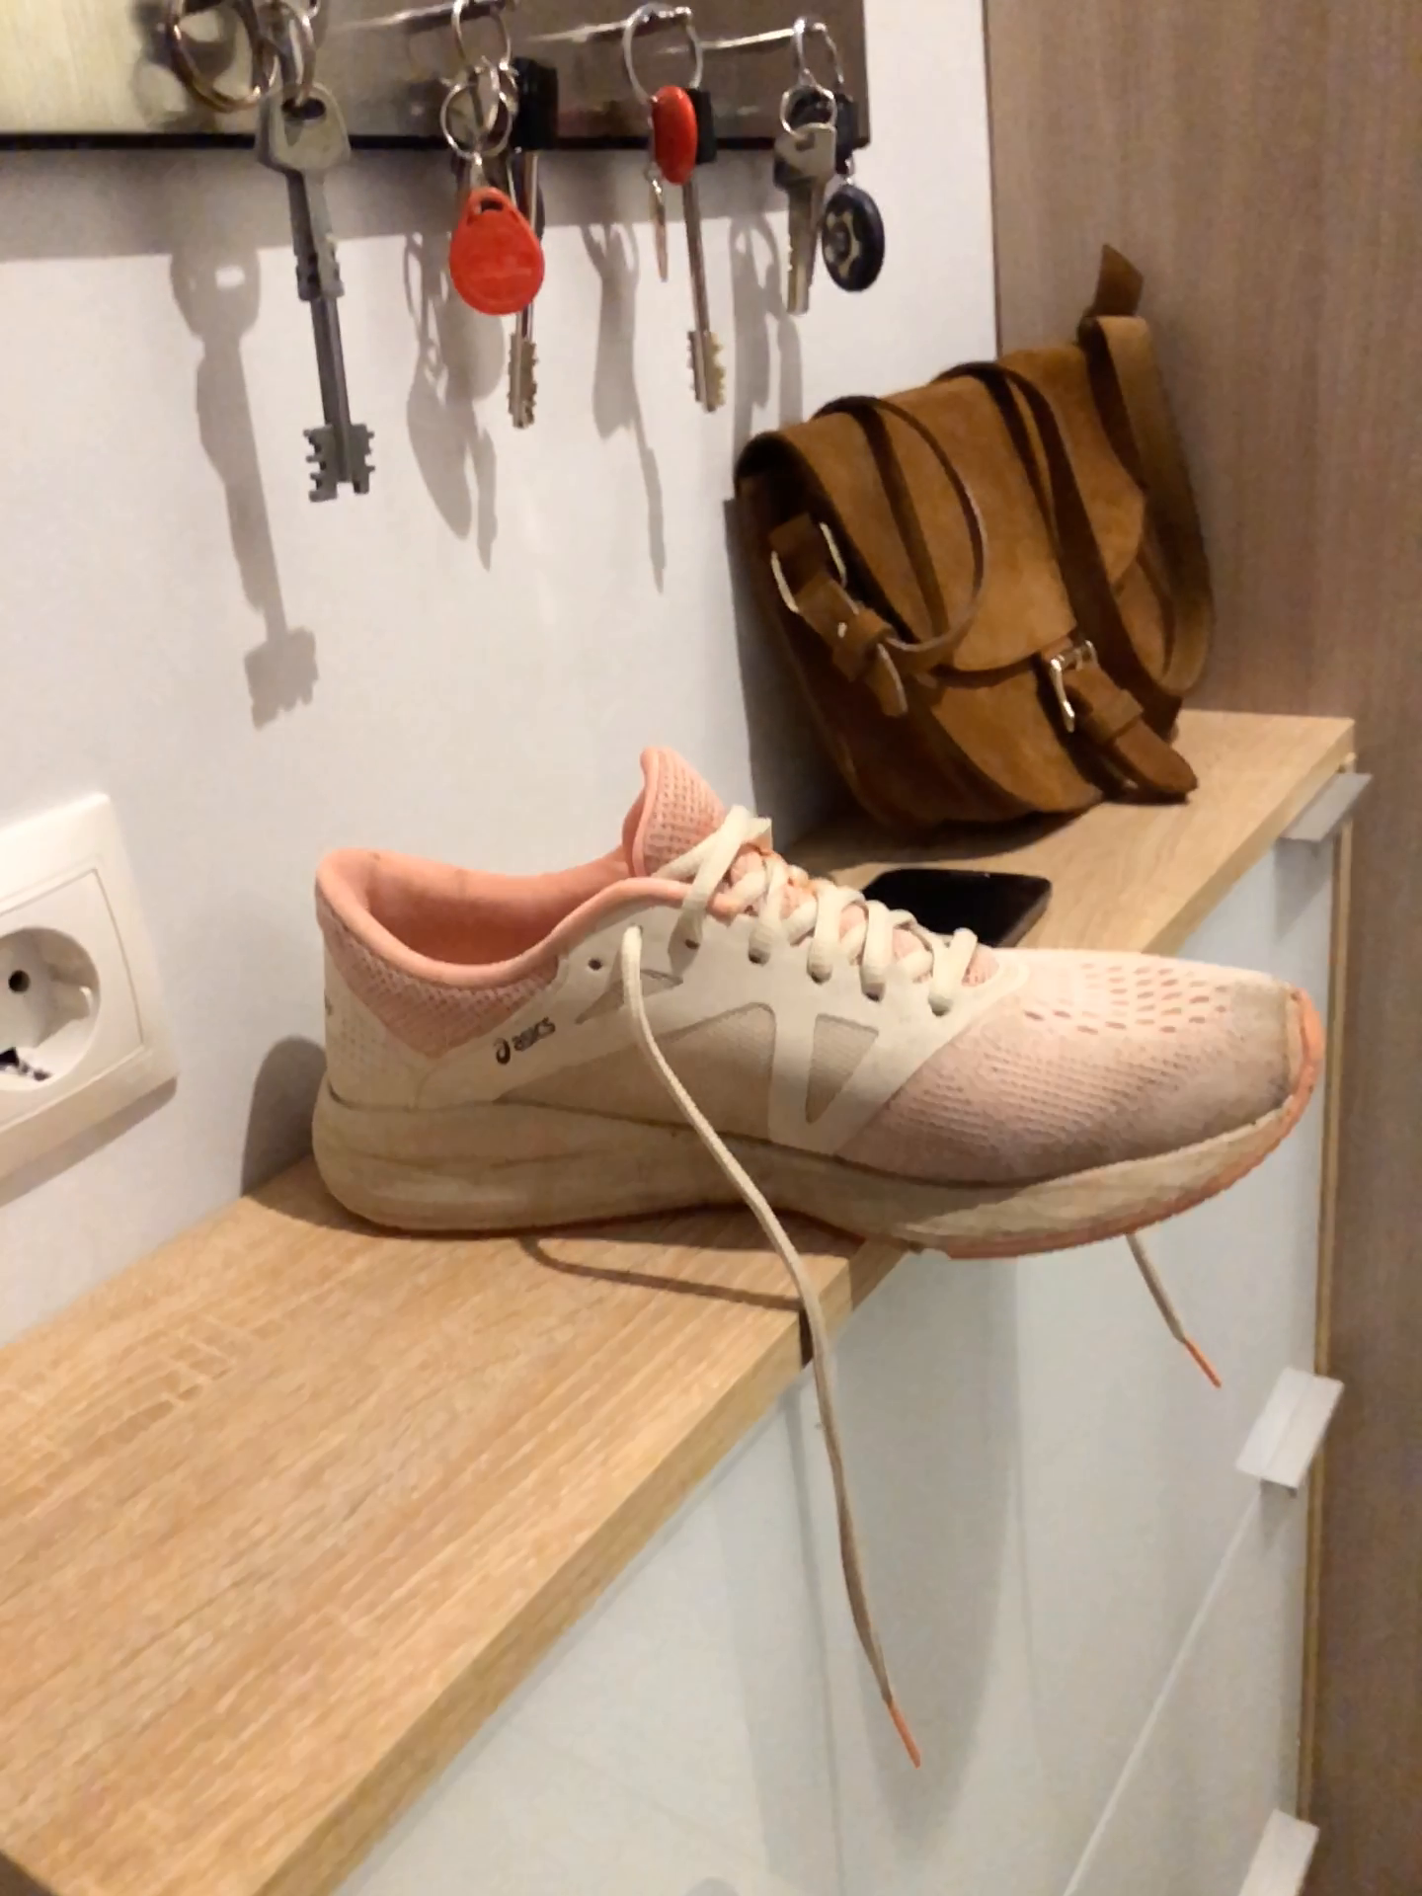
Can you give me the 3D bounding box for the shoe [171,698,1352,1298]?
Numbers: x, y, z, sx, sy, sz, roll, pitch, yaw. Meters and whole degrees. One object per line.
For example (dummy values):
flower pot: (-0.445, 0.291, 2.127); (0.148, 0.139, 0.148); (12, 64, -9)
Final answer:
shoe: (0.017, 0.005, 0.410); (0.268, 0.104, 0.111); (0, 24, 17)
